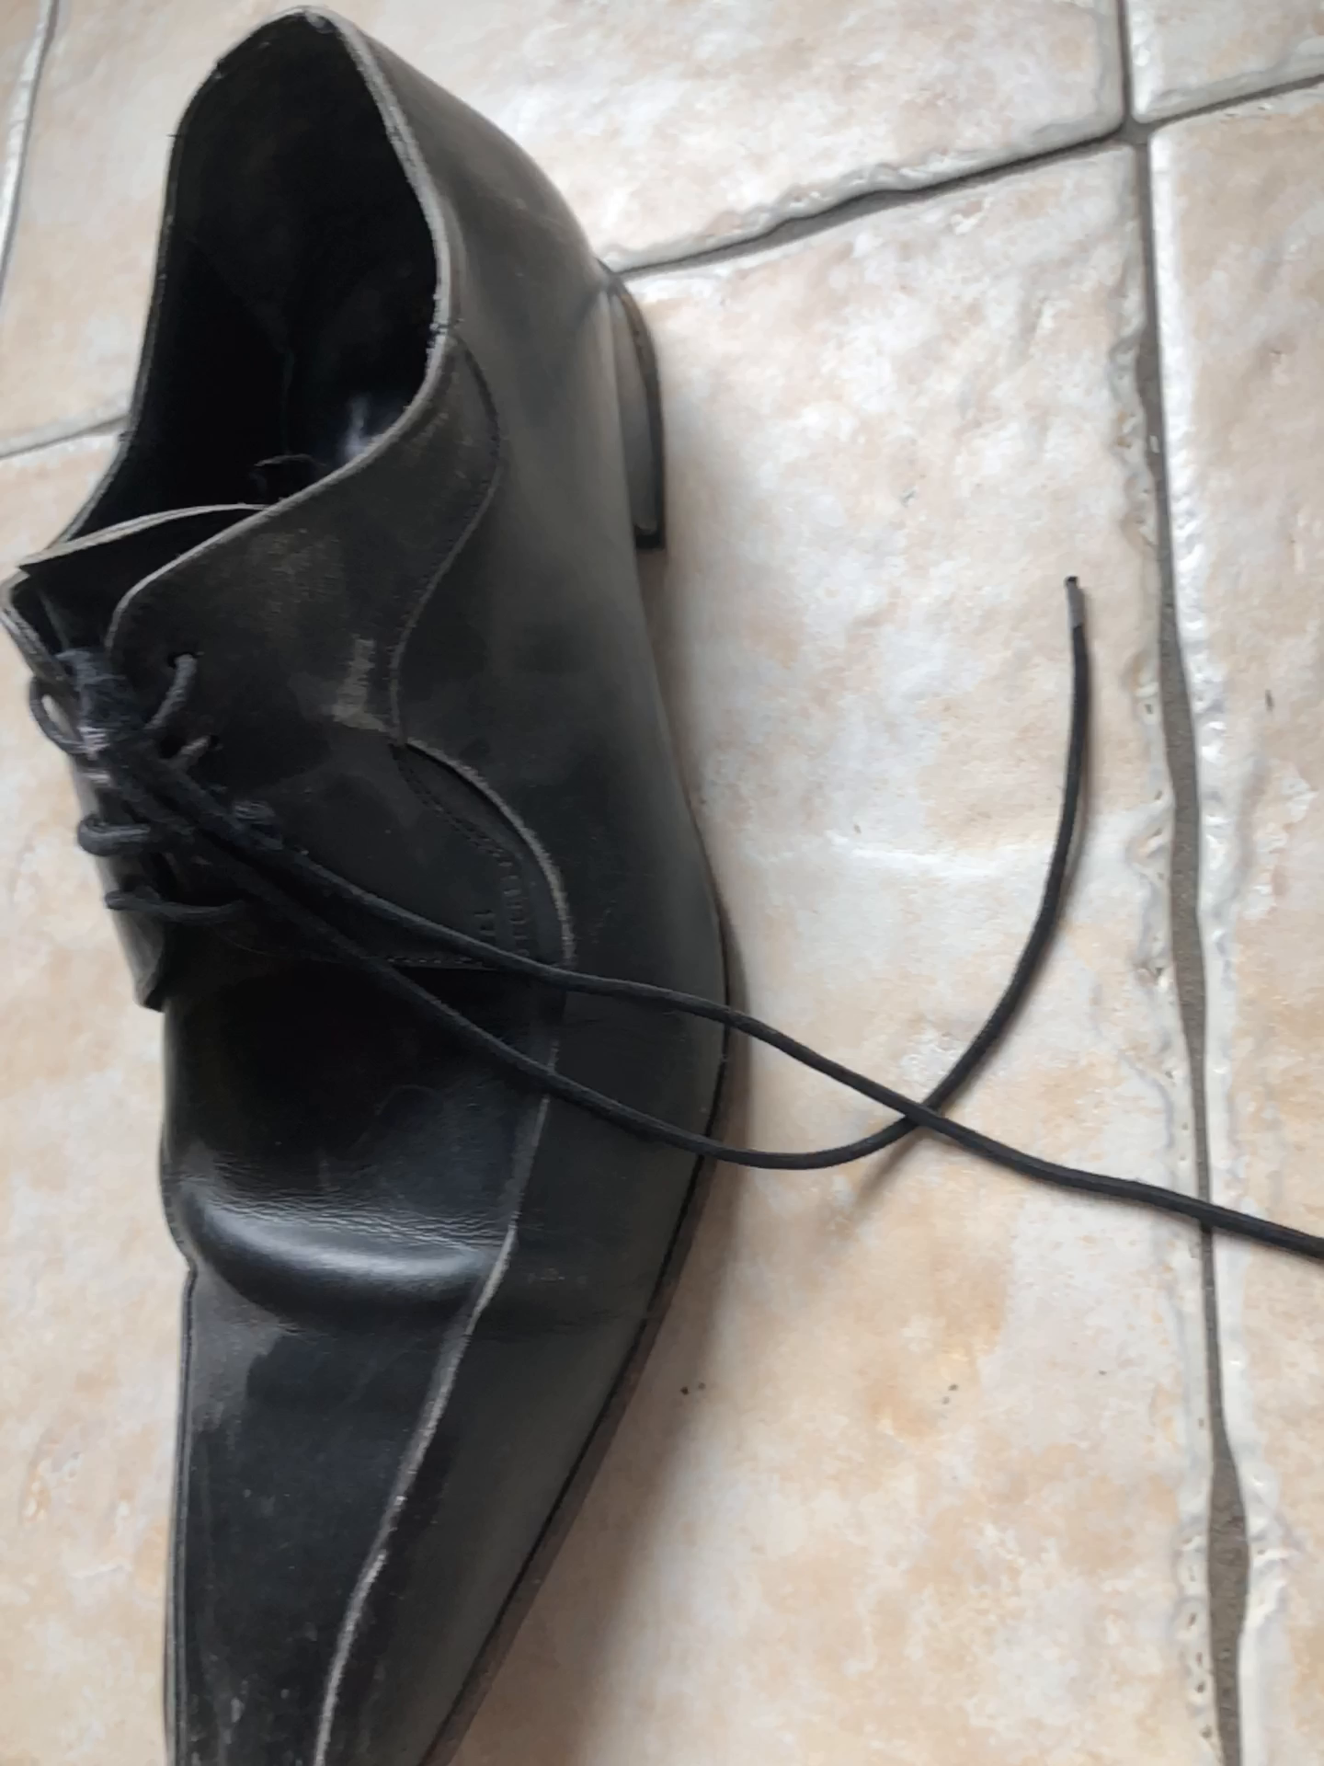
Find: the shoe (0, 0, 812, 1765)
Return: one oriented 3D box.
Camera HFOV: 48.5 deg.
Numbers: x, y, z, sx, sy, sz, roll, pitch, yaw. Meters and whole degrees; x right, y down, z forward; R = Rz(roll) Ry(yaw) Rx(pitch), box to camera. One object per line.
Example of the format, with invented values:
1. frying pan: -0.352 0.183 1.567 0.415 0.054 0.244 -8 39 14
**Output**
1. shoe: -0.047 0.000 0.240 0.100 0.090 0.290 -3 74 28
